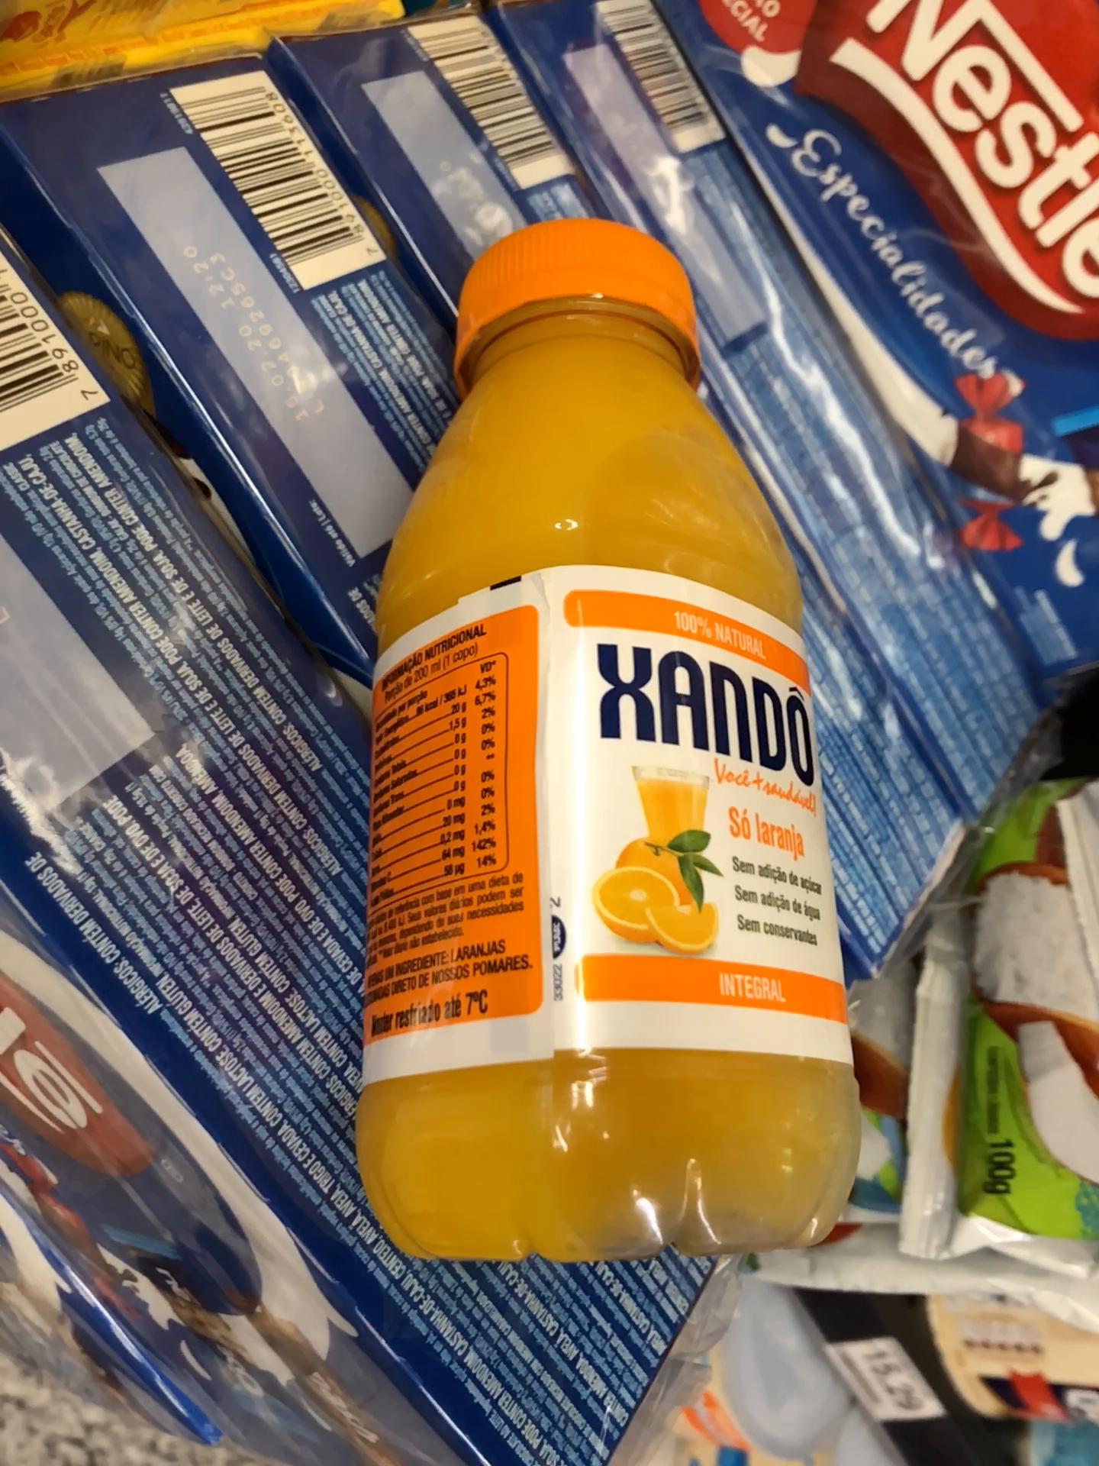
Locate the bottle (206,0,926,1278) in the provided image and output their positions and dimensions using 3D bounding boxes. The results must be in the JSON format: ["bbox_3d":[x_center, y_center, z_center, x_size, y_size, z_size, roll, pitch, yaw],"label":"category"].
[{"bbox_3d":[-0.002,-0.013,0.193,0.060,0.079,0.170,14,67,-38],"label":"bottle"}]
